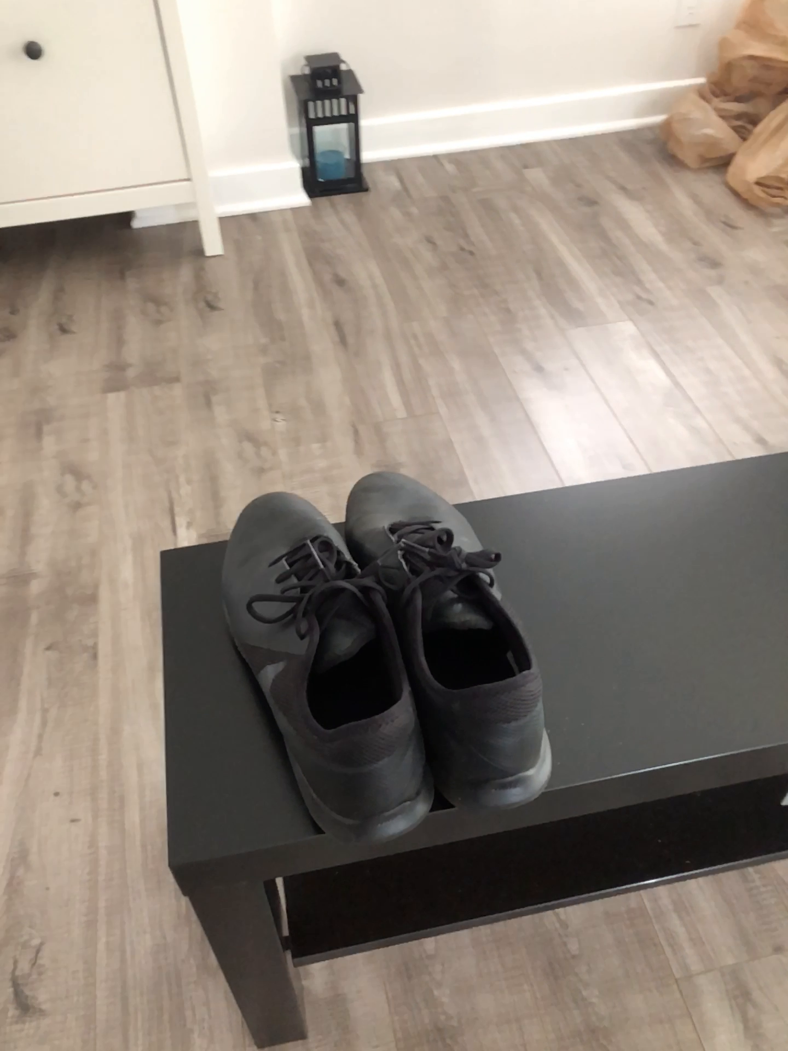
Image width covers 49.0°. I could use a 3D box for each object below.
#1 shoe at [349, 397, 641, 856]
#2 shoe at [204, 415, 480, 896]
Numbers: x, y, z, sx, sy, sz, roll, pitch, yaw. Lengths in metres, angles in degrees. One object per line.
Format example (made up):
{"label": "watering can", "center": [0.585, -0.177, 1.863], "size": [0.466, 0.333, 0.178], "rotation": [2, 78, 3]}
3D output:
{"label": "shoe", "center": [0.050, 0.052, 0.596], "size": [0.100, 0.110, 0.295], "rotation": [-11, 47, -9]}
{"label": "shoe", "center": [-0.046, 0.068, 0.578], "size": [0.100, 0.110, 0.295], "rotation": [-13, 48, -11]}
